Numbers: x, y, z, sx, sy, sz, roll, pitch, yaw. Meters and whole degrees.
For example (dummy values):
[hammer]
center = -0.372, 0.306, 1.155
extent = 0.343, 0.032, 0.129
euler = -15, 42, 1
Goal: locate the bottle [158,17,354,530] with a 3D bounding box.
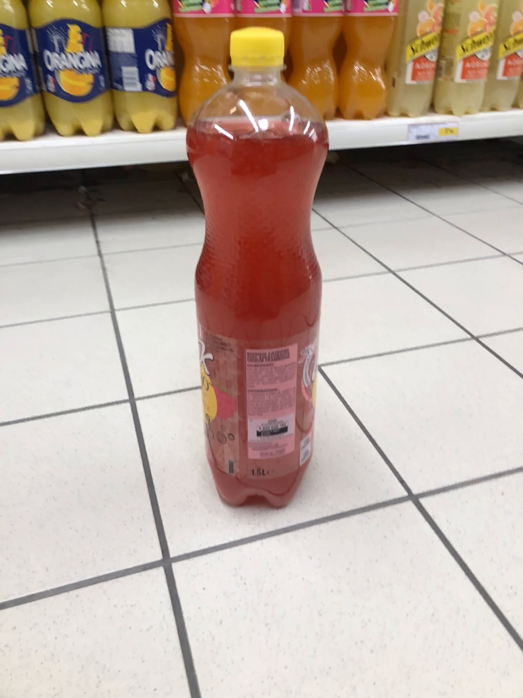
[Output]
[bottle]
center = -0.004, -0.034, 0.388
extent = 0.090, 0.328, 0.101
euler = -1, 30, -2
